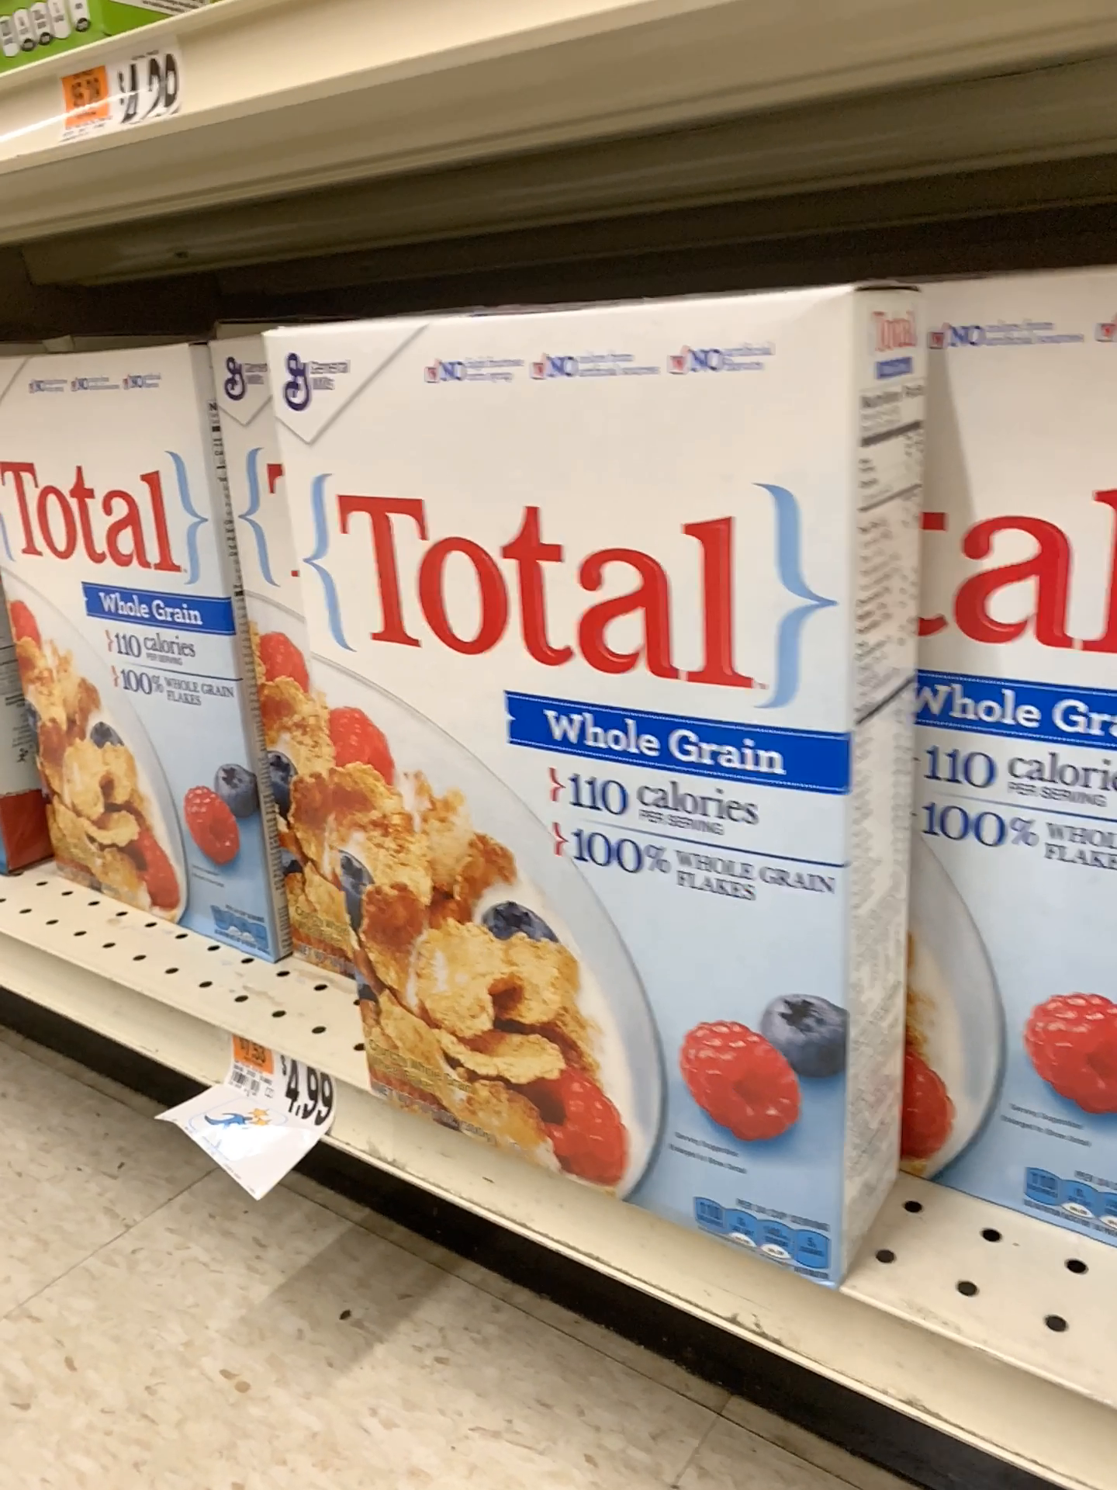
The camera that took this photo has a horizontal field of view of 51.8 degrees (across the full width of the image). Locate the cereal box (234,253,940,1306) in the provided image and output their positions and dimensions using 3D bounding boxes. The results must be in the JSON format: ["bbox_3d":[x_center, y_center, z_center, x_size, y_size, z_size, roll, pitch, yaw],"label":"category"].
[{"bbox_3d":[0.005,0.007,0.360,0.200,0.279,0.050,10,24,35],"label":"cereal box"}]
